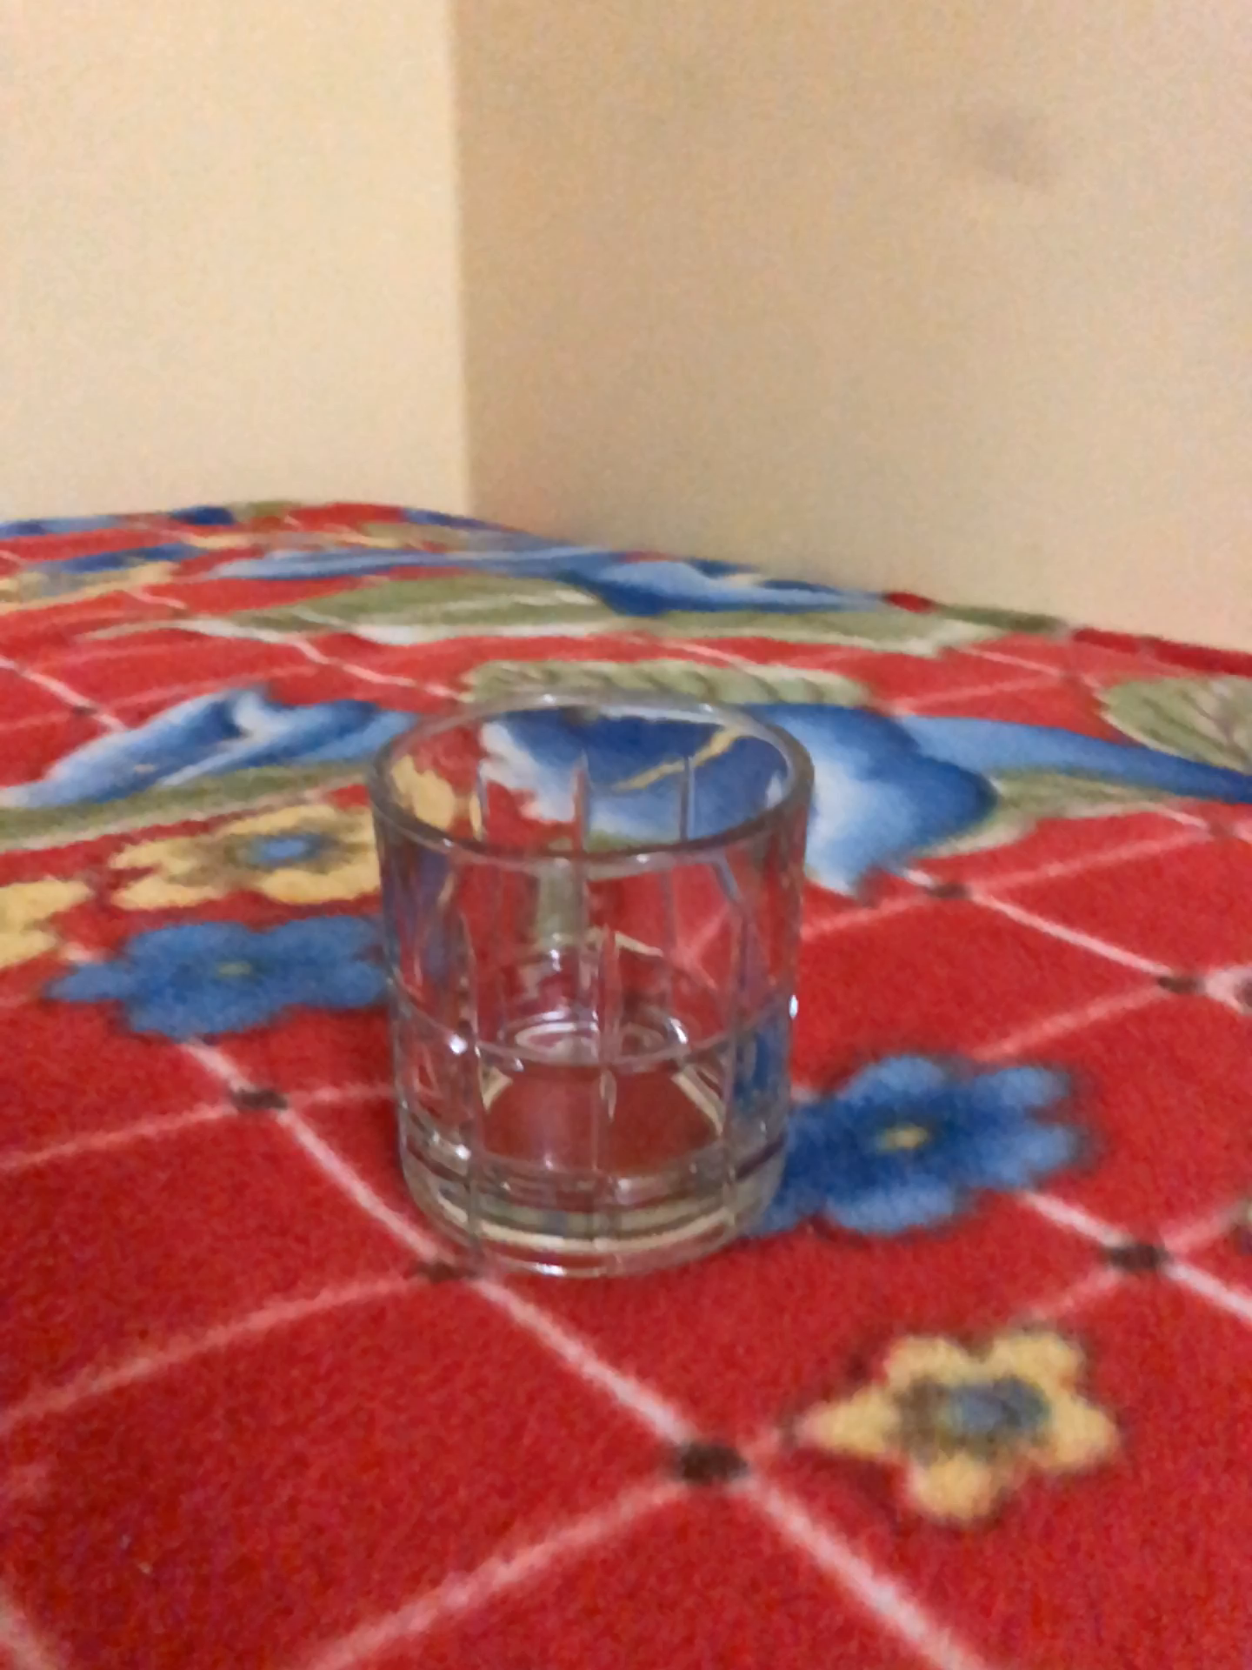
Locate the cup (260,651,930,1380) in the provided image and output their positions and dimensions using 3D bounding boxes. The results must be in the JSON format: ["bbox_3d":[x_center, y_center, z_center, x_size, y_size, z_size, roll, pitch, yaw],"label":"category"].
[{"bbox_3d":[-0.006,0.025,0.263,0.084,0.088,0.084,0,23,0],"label":"cup"}]
